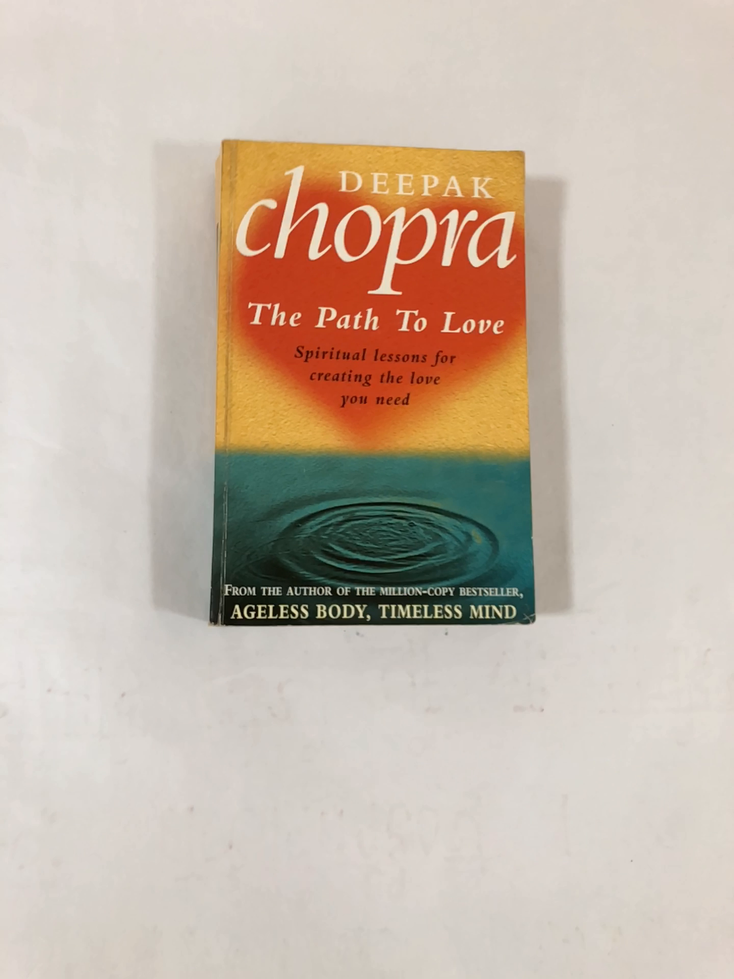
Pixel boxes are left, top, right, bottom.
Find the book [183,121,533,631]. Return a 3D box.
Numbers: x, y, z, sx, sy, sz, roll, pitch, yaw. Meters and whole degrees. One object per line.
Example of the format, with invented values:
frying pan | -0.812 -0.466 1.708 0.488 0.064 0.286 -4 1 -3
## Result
book | -0.005 -0.044 0.338 0.130 0.040 0.200 1 81 -7
